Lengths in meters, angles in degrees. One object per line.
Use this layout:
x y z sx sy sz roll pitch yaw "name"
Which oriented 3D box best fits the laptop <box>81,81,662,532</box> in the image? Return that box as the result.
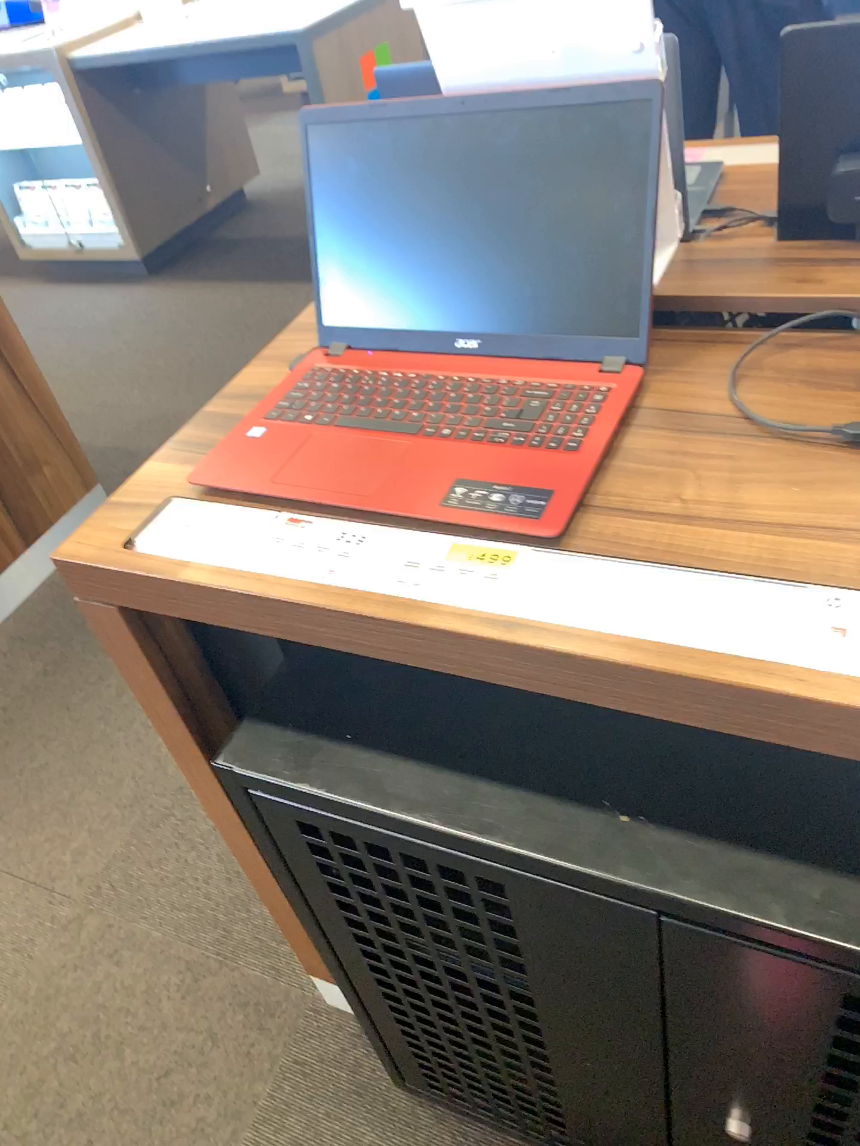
-0.020 -0.243 0.762 0.357 0.213 0.323 10 46 25 "laptop"
